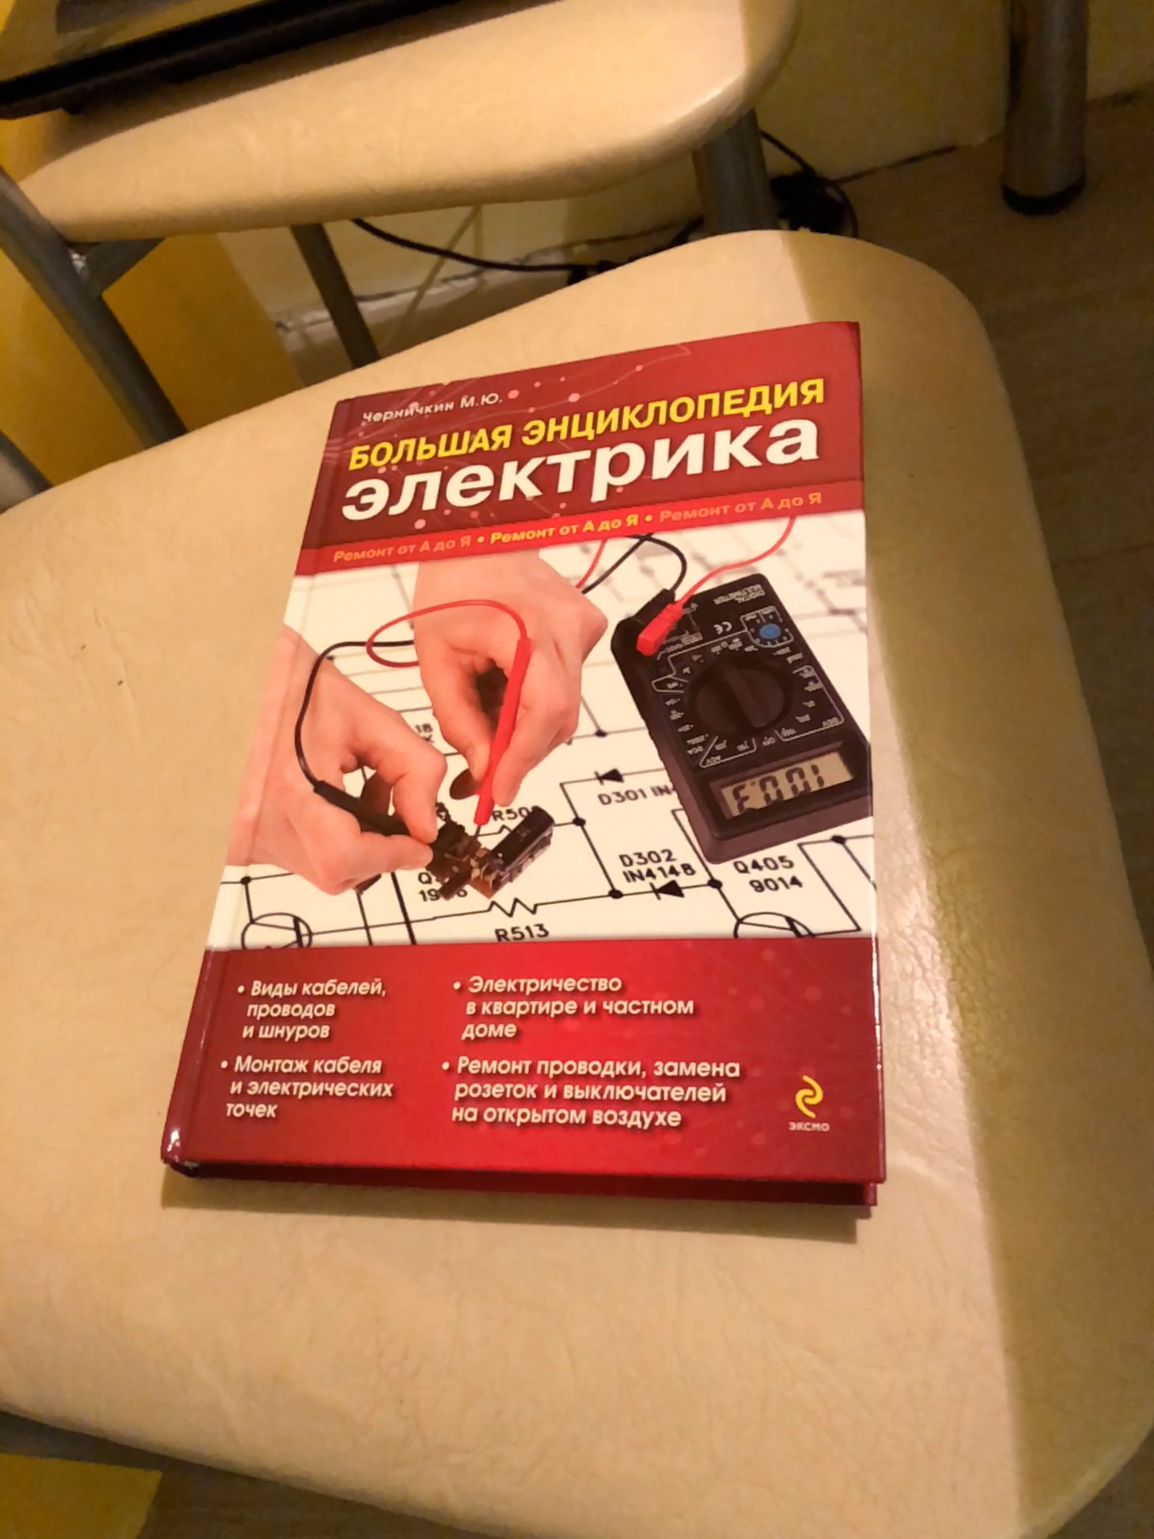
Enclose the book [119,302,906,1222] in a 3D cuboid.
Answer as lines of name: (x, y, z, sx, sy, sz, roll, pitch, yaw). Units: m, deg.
book: (-0.007, -0.013, 0.336, 0.172, 0.030, 0.242, -4, 60, 17)
